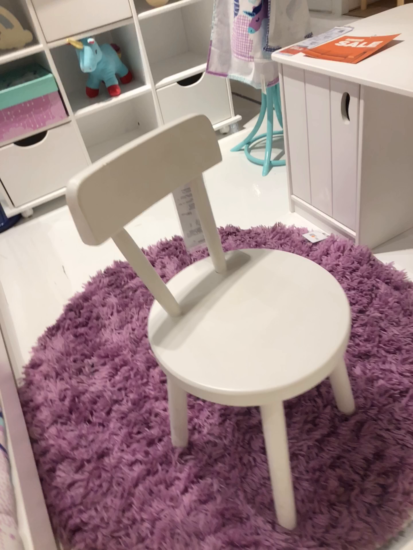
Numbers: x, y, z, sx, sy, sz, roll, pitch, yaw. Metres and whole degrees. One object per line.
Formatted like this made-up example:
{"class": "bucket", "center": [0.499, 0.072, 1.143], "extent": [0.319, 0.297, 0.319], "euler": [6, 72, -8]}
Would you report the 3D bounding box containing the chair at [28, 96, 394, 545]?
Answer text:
{"class": "chair", "center": [0.058, 0.075, 0.719], "extent": [0.311, 0.575, 0.322], "euler": [20, 49, 34]}
